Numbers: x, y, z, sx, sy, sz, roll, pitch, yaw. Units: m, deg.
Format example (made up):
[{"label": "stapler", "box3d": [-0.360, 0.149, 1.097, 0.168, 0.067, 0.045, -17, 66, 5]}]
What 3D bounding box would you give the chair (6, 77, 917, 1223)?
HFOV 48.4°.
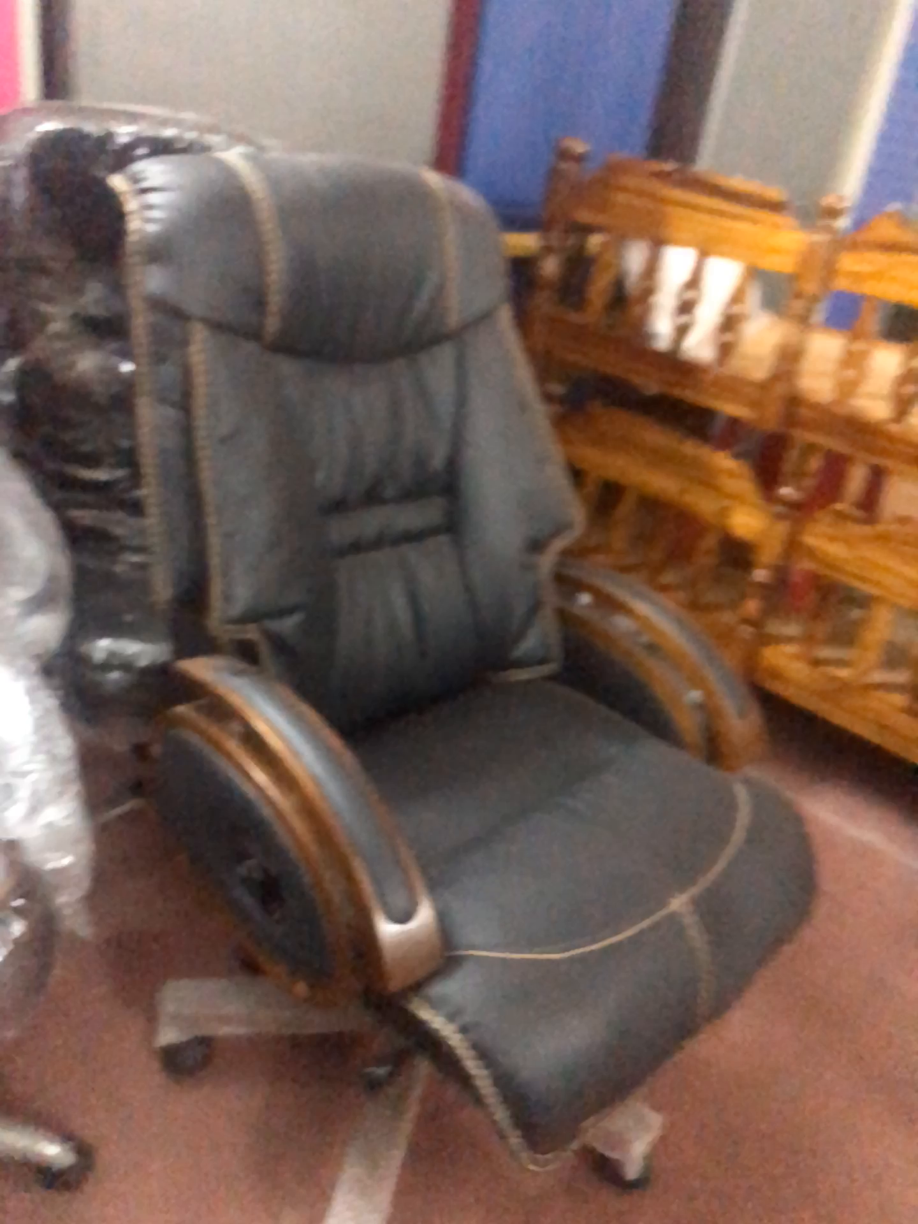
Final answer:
[{"label": "chair", "box3d": [0.057, 0.058, 1.109, 0.704, 0.995, 0.790, -17, 37, -41]}]
